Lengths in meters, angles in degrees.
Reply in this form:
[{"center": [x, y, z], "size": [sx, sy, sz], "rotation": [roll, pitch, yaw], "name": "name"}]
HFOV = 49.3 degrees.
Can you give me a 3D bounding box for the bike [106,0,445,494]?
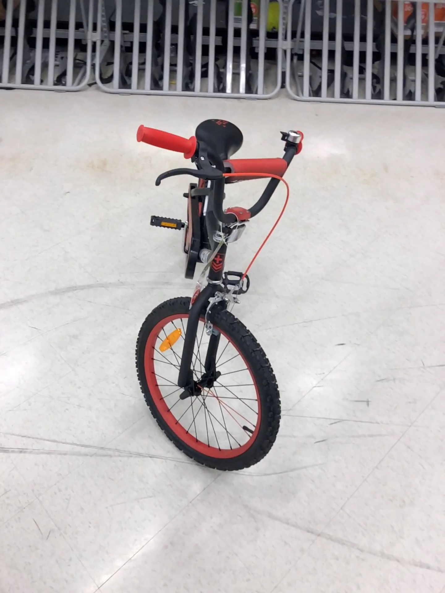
[{"center": [0.042, -0.241, 1.440], "size": [0.624, 0.924, 1.254], "rotation": [-4, 48, -7], "name": "bike"}]
